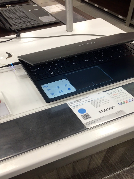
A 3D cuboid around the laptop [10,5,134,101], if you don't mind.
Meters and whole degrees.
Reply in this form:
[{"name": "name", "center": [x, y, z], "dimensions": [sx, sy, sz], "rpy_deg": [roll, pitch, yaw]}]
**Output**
[{"name": "laptop", "center": [0.082, -0.128, 0.536], "dimensions": [0.404, 0.117, 0.225], "rpy_deg": [-18, 50, -13]}]
